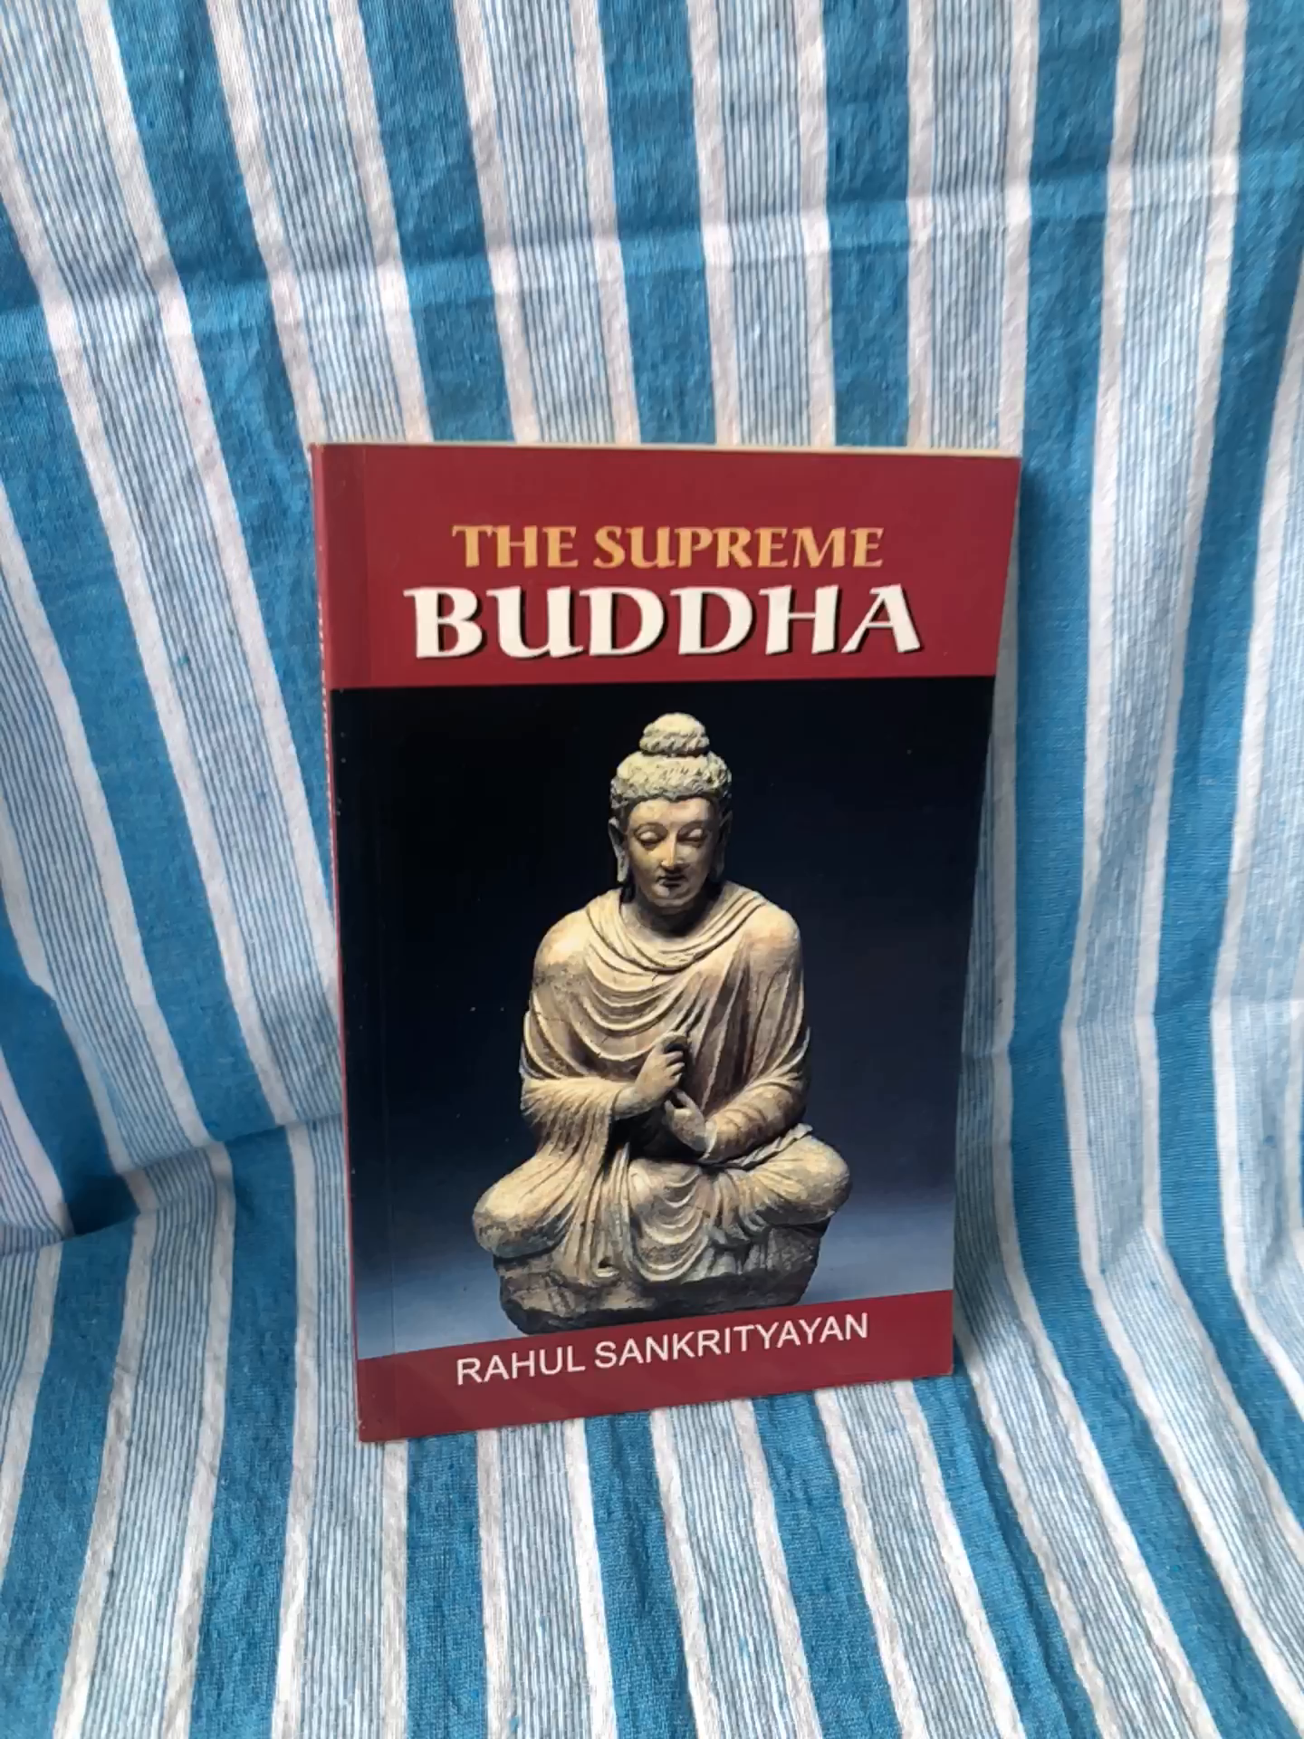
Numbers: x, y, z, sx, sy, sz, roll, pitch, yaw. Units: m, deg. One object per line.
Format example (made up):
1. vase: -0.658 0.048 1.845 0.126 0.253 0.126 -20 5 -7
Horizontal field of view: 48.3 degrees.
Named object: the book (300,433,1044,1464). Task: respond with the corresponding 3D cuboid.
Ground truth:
1. book: 0.004 0.020 0.321 0.150 0.219 0.020 -2 14 -12
